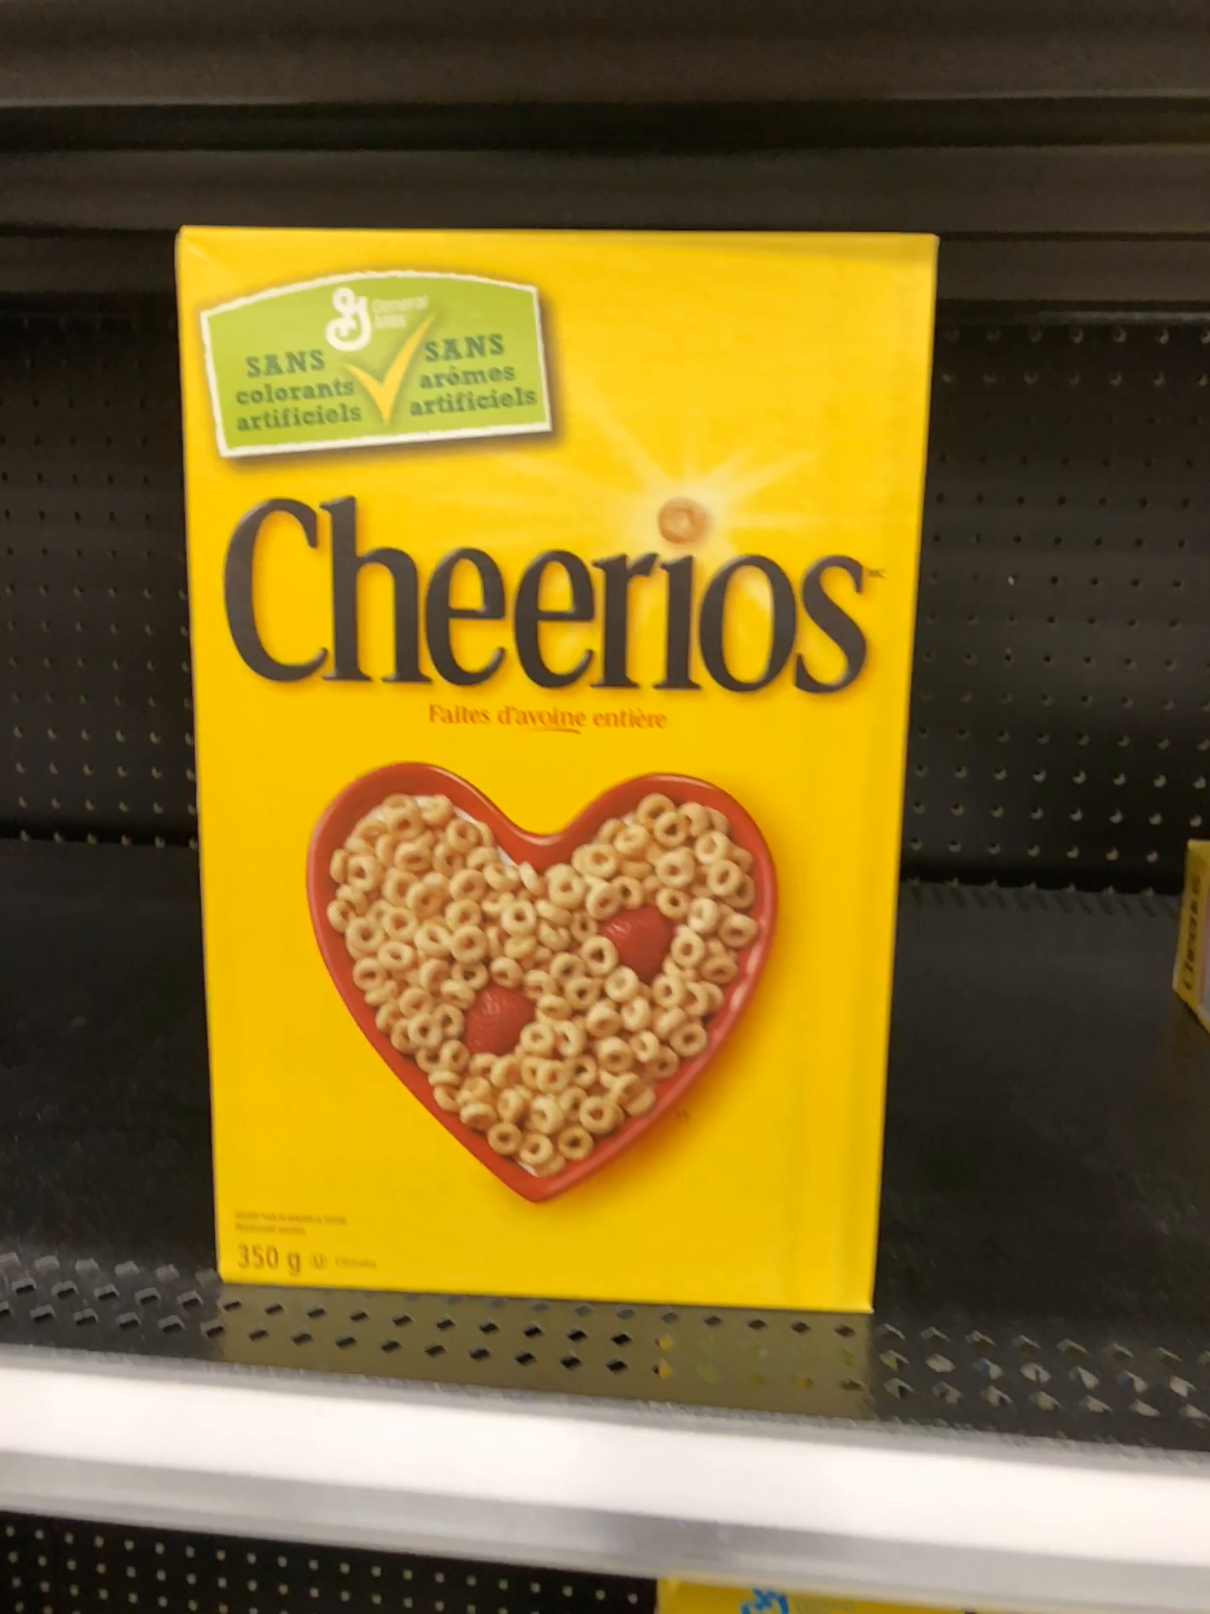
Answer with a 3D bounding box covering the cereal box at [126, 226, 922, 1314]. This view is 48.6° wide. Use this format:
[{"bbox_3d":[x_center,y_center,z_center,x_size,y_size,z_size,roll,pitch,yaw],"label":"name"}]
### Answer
[{"bbox_3d":[-0.024,-0.008,0.422,0.210,0.309,0.080,2,11,2],"label":"cereal box"}]
